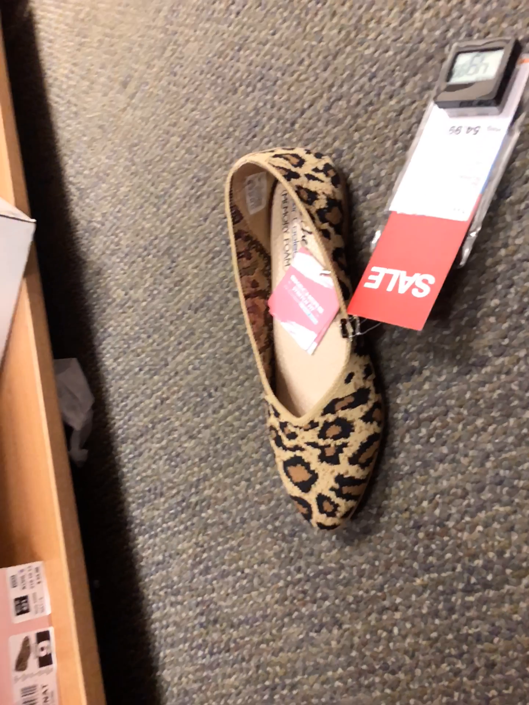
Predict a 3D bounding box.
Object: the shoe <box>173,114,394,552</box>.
[{"bbox_3d":[0.004,-0.006,0.355,0.105,0.056,0.232,-16,74,45],"label":"shoe"}]
